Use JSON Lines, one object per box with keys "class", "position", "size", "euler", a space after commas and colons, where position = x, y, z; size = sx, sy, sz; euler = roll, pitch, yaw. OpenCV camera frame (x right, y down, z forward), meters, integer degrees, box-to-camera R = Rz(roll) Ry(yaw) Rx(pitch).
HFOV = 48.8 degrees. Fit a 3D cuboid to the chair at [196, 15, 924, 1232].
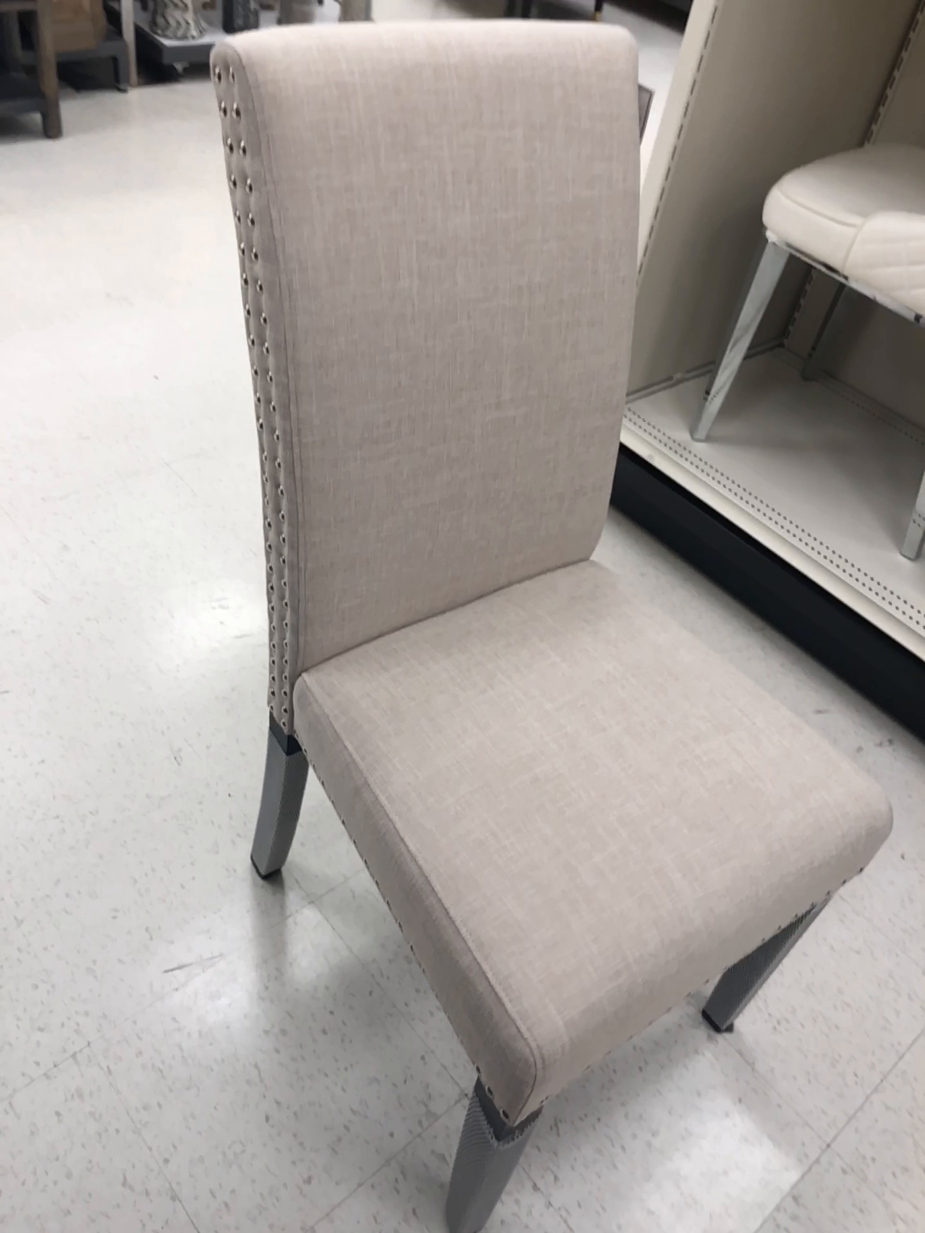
{"class": "chair", "position": [0.106, 0.076, 0.979], "size": [0.488, 1.006, 0.557], "euler": [-21, 52, -31]}
